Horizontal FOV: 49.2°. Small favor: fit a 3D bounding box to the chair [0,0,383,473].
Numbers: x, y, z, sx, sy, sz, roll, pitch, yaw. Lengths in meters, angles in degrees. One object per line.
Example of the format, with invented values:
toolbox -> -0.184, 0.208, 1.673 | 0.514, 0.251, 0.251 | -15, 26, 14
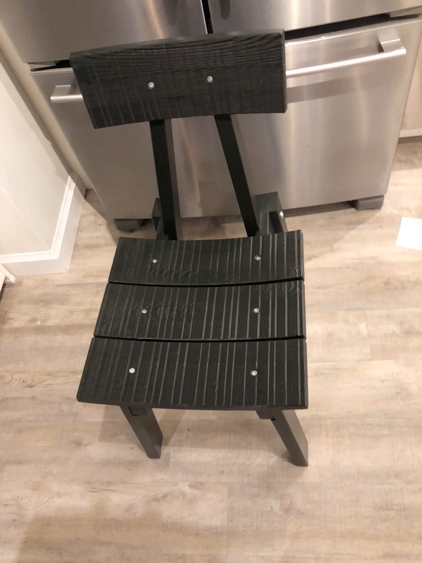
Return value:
chair -> -0.019, 0.013, 0.900 | 0.520, 0.796, 0.512 | 0, 59, 11
